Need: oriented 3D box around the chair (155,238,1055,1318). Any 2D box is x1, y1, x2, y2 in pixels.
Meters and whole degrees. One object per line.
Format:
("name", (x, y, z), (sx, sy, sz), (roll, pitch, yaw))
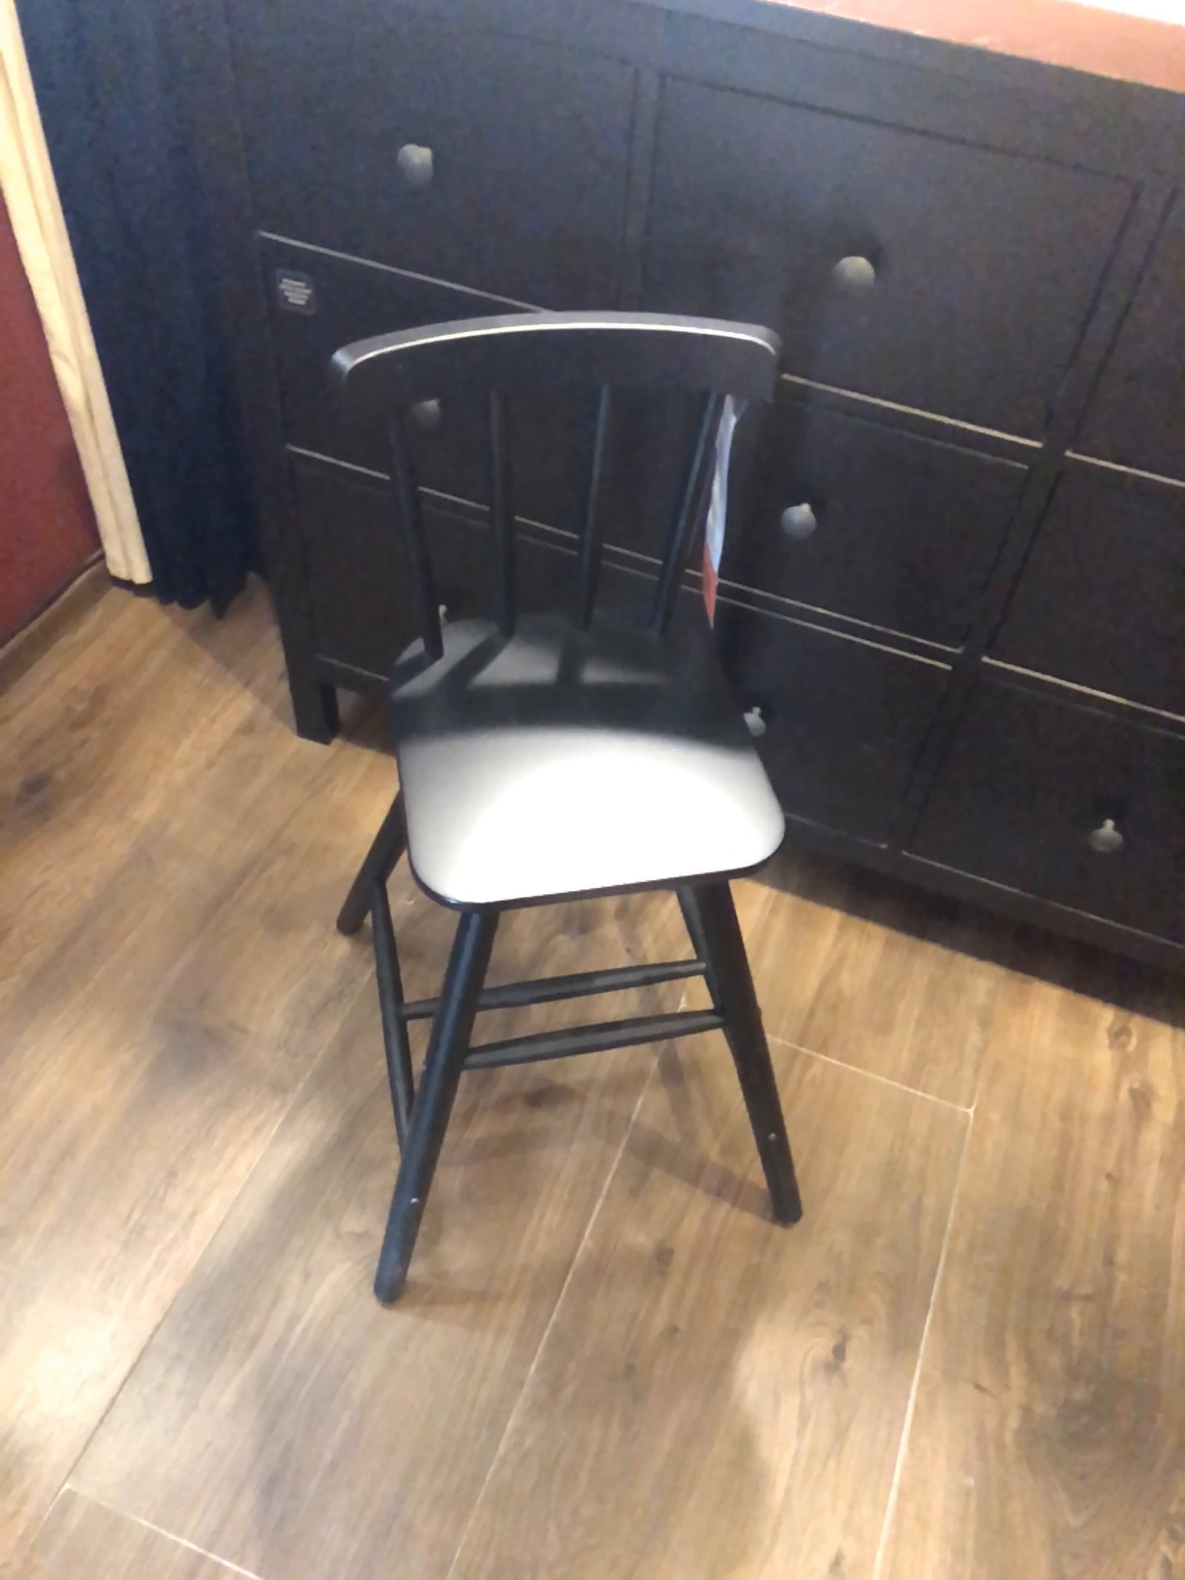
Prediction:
("chair", (-0.052, 0.023, 1.055), (0.450, 0.716, 0.473), (-8, 50, -11))
